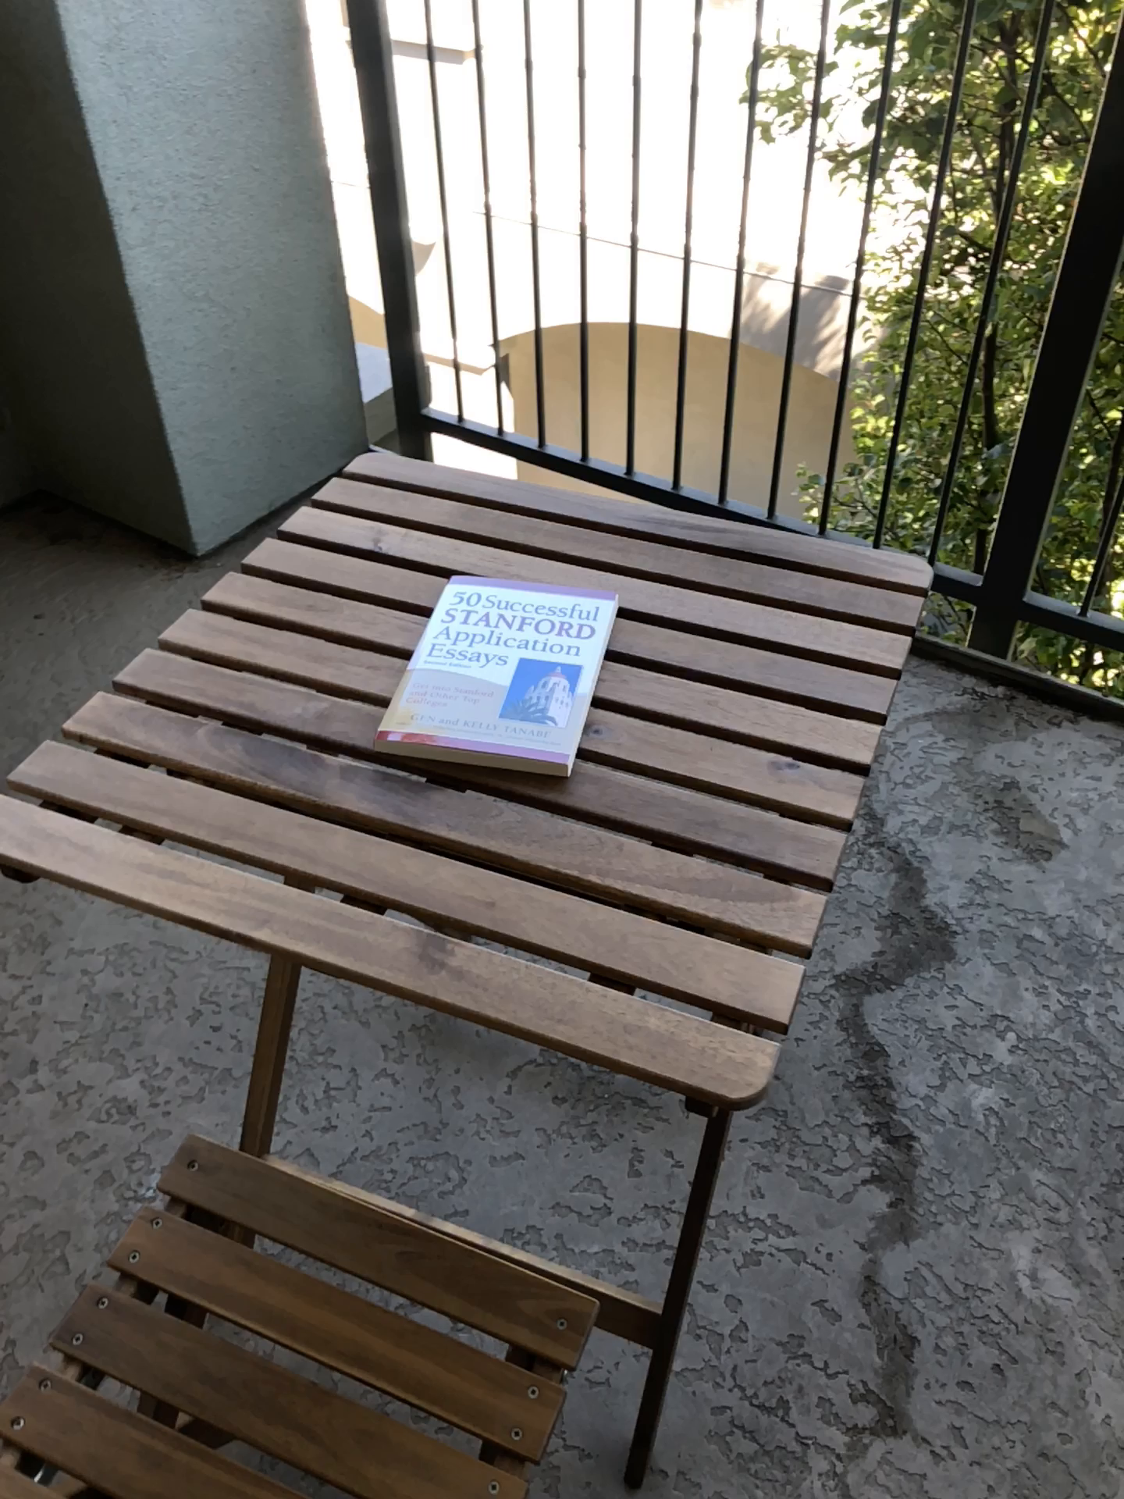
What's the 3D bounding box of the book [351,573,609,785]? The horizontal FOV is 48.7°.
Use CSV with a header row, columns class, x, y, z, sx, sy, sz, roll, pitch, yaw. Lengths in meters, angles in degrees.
class,x,y,z,sx,sy,sz,roll,pitch,yaw
book,-0.058,-0.064,0.998,0.156,0.020,0.225,7,42,9
